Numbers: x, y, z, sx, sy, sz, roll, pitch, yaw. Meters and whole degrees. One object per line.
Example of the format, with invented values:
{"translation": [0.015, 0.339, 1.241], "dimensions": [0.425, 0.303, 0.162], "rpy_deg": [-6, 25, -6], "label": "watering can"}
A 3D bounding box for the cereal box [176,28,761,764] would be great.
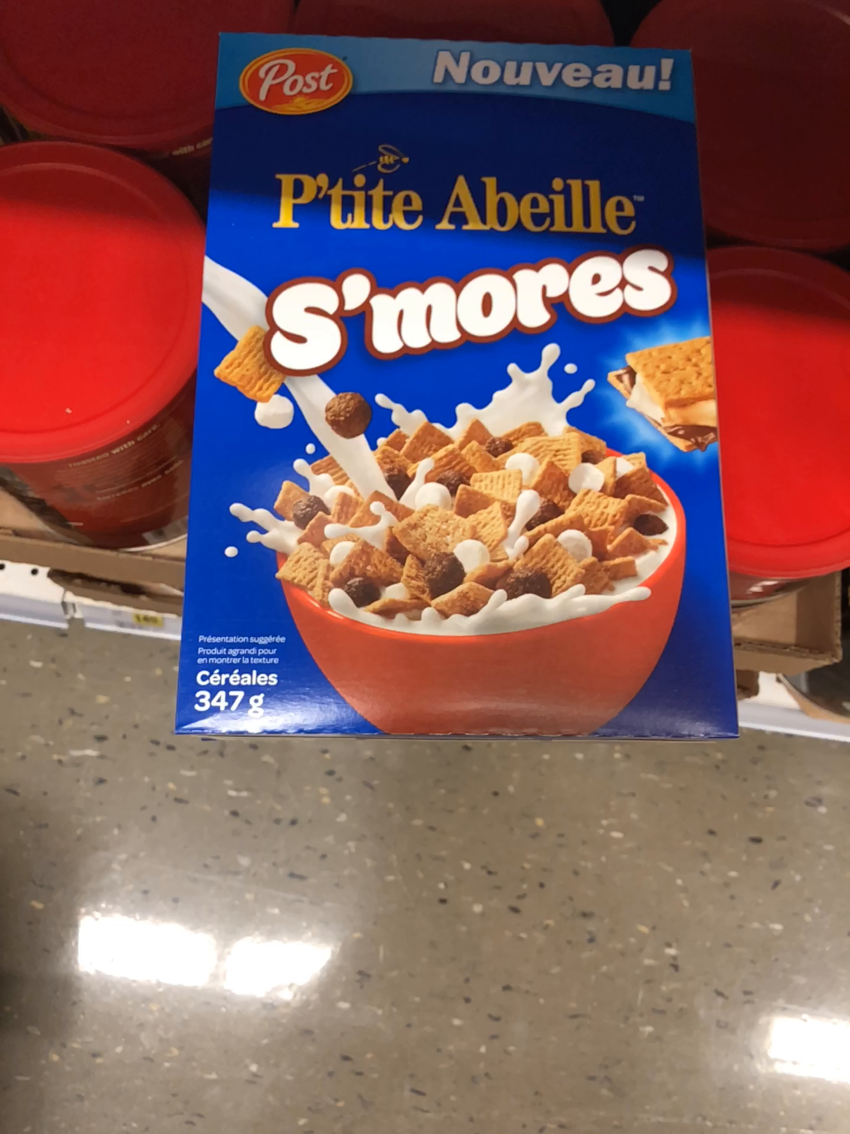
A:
{"translation": [0.016, -0.070, 0.386], "dimensions": [0.200, 0.060, 0.290], "rpy_deg": [1, 77, -1], "label": "cereal box"}
